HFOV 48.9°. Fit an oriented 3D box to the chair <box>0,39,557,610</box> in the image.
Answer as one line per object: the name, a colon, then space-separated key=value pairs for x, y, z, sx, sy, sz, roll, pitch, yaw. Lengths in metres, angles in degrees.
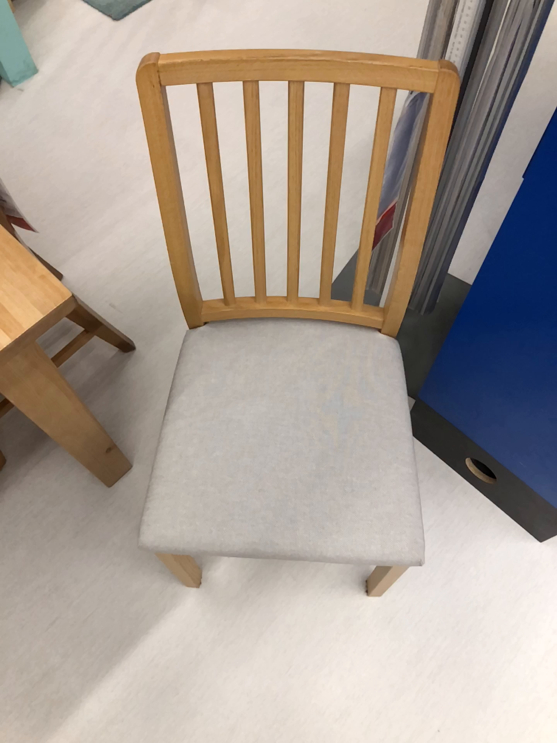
chair: x=0.014 y=0.051 z=0.955 sx=0.450 sy=0.857 sz=0.512 roll=3 pitch=65 yaw=2
